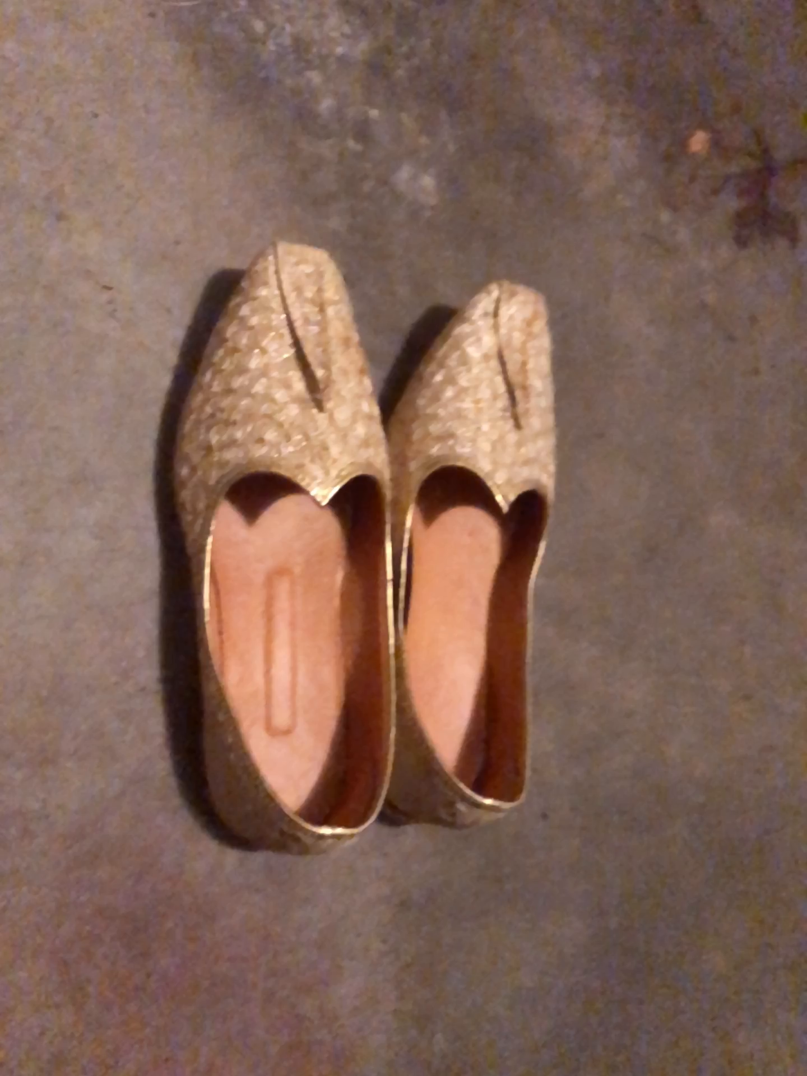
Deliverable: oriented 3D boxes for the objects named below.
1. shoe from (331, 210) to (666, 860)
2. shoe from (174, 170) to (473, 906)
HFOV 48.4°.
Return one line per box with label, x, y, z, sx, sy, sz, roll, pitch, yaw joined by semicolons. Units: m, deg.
shoe;0.049;0.001;0.432;0.104;0.073;0.275;14;77;-25
shoe;-0.038;-0.001;0.389;0.104;0.073;0.275;2;82;-27
